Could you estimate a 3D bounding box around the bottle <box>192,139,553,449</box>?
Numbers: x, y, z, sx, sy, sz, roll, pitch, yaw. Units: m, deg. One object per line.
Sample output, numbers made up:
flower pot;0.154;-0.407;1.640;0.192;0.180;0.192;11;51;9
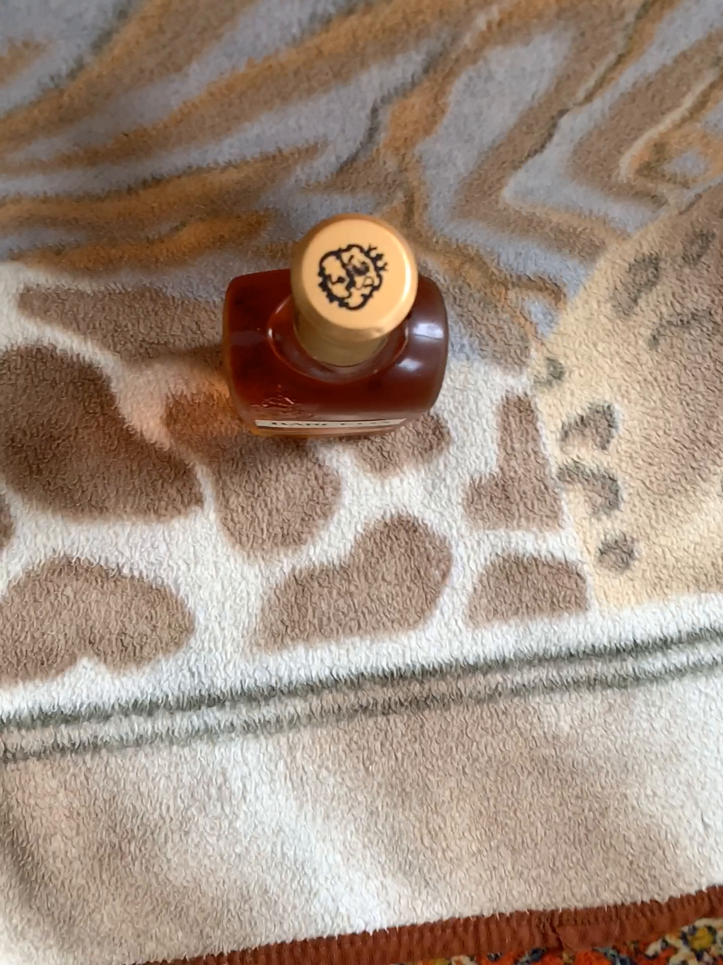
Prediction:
bottle;-0.006;-0.054;0.301;0.090;0.220;0.070;-3;91;-5
